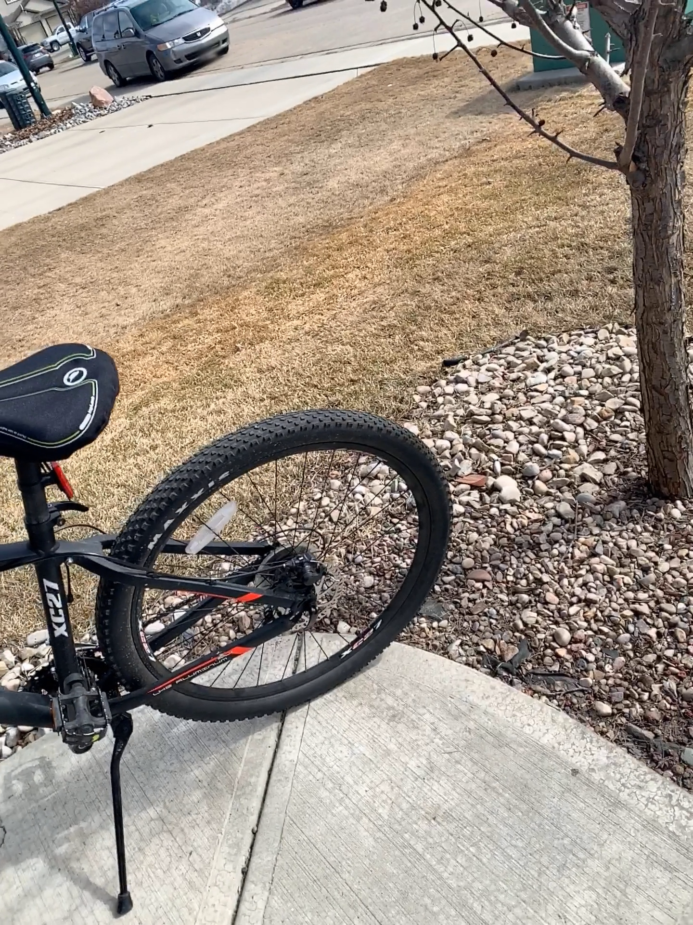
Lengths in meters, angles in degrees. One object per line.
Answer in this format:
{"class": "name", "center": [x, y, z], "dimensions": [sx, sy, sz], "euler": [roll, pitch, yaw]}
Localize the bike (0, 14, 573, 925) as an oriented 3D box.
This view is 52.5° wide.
{"class": "bike", "center": [-0.490, 0.326, 0.892], "dimensions": [1.480, 1.004, 0.603], "euler": [-34, 37, -15]}
